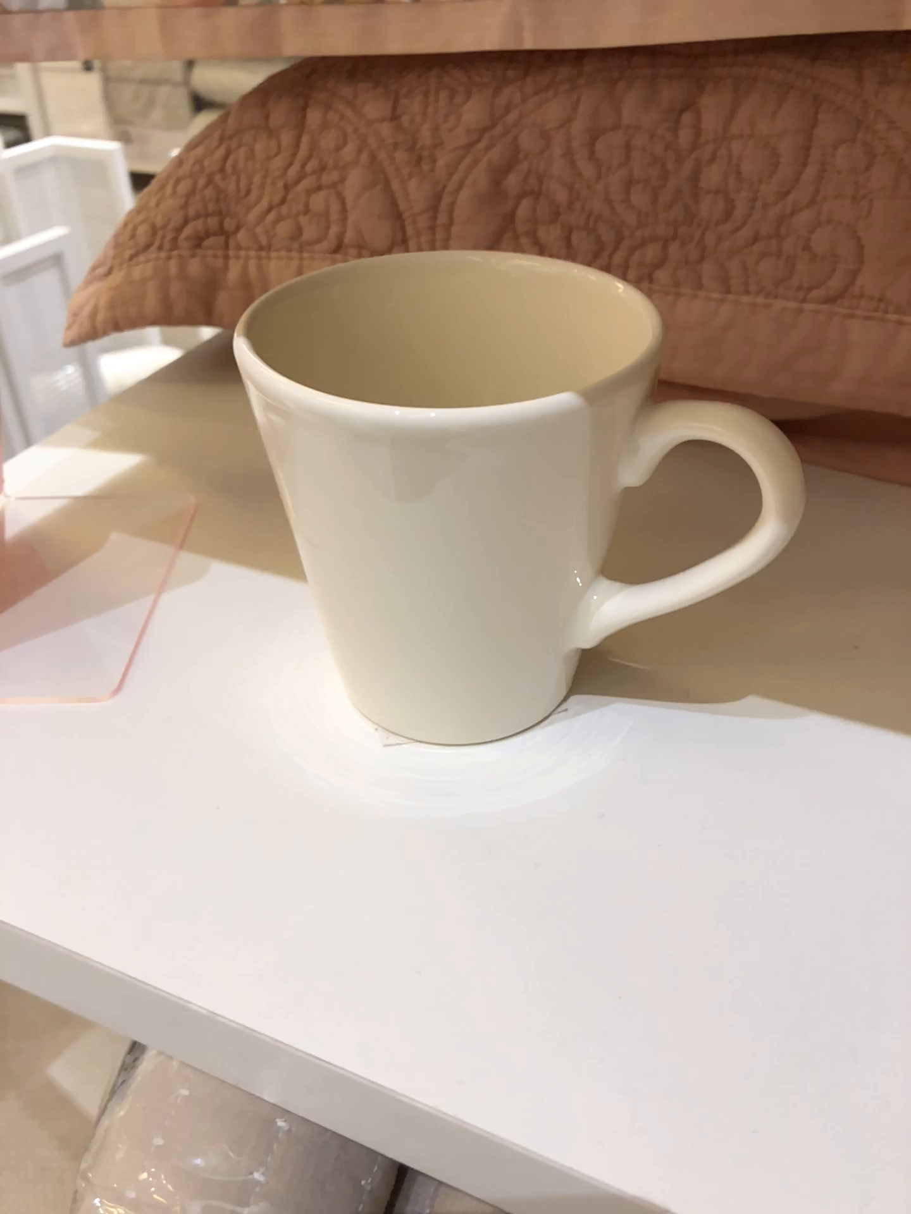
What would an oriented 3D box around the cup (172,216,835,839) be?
[{"bbox_3d":[0.015,-0.022,0.226,0.110,0.099,0.081,7,37,12],"label":"cup"}]
